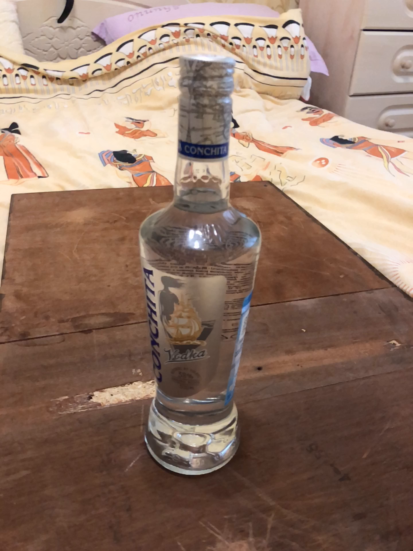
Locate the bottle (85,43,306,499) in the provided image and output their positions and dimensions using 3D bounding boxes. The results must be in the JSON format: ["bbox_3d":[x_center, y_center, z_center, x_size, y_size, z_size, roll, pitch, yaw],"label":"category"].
[{"bbox_3d":[-0.007,0.010,0.289,0.077,0.273,0.076,1,31,-1],"label":"bottle"}]
